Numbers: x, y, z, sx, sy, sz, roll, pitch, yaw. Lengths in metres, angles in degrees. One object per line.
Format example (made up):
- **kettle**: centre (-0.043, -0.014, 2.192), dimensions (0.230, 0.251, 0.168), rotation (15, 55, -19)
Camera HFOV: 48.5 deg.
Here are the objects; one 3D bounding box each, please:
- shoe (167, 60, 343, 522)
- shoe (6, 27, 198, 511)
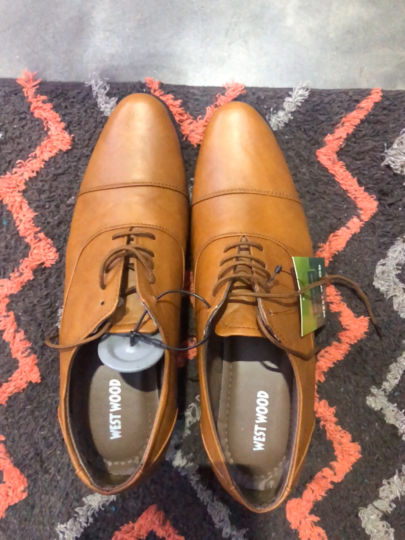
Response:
- **shoe**: centre (0.037, 0.010, 0.334), dimensions (0.110, 0.080, 0.300), rotation (1, 86, 1)
- **shoe**: centre (-0.063, -0.005, 0.325), dimensions (0.110, 0.070, 0.310), rotation (1, 86, 1)
